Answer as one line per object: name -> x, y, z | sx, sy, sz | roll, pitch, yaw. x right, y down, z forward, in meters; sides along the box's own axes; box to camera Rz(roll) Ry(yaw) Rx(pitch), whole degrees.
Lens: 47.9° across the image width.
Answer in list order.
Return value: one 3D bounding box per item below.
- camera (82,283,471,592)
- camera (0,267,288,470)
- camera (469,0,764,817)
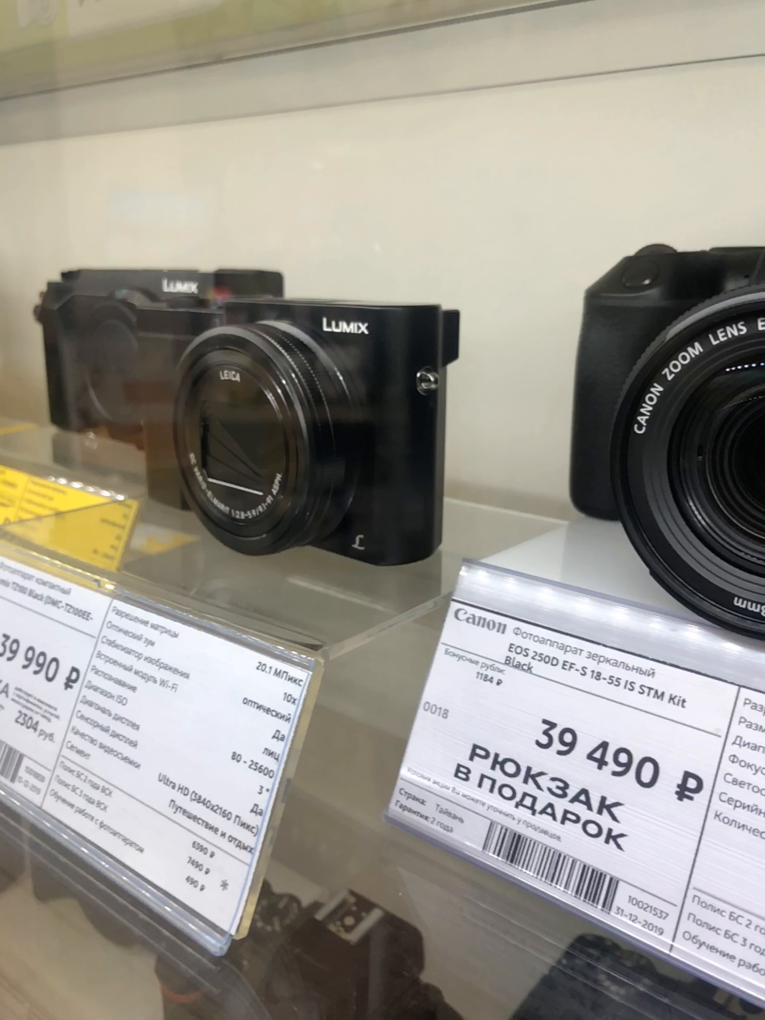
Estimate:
camera -> -0.033, -0.027, 0.243 | 0.111, 0.068, 0.038 | 13, 20, 37
camera -> -0.097, -0.063, 0.349 | 0.108, 0.068, 0.055 | 13, 20, 37
camera -> 0.133, -0.041, 0.208 | 0.157, 0.099, 0.164 | 13, 22, 37
